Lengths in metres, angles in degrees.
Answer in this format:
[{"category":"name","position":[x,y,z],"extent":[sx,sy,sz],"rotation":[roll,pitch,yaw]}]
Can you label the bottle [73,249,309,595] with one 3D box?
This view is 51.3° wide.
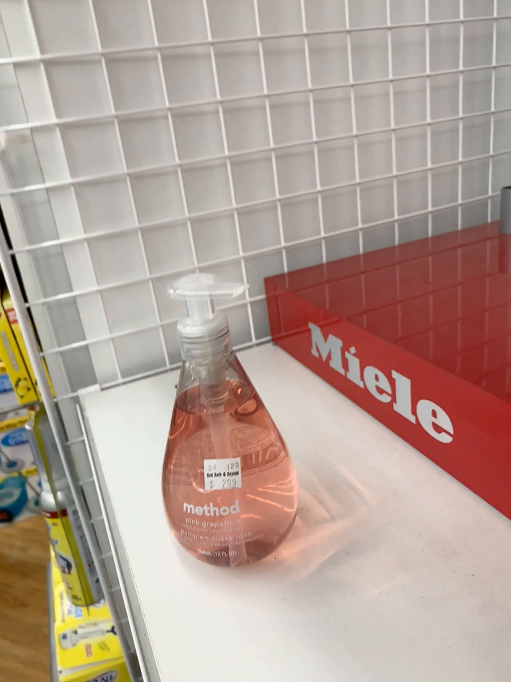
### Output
[{"category":"bottle","position":[-0.023,0.042,0.286],"extent":[0.080,0.160,0.078],"rotation":[-7,22,3]}]
